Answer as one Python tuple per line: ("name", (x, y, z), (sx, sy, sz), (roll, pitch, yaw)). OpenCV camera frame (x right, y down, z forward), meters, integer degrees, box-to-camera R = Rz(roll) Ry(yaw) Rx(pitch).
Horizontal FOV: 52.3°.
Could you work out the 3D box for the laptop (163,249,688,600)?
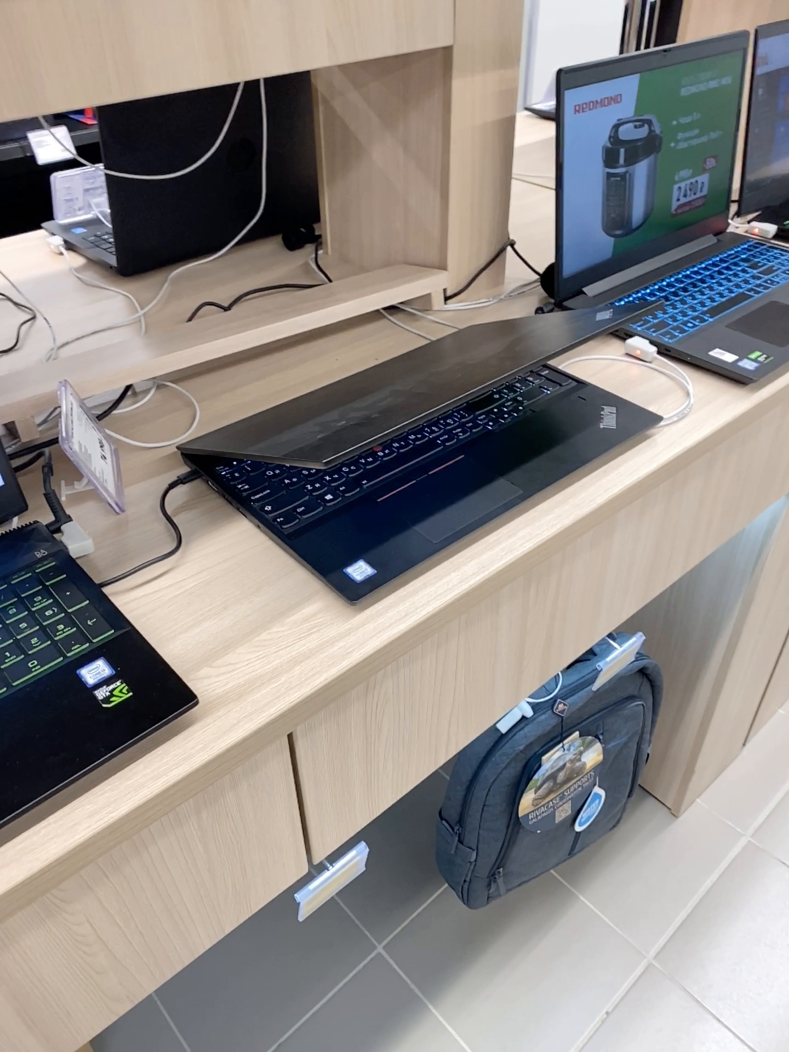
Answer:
("laptop", (0.032, -0.117, 0.696), (0.369, 0.093, 0.241), (-28, 46, -29))
